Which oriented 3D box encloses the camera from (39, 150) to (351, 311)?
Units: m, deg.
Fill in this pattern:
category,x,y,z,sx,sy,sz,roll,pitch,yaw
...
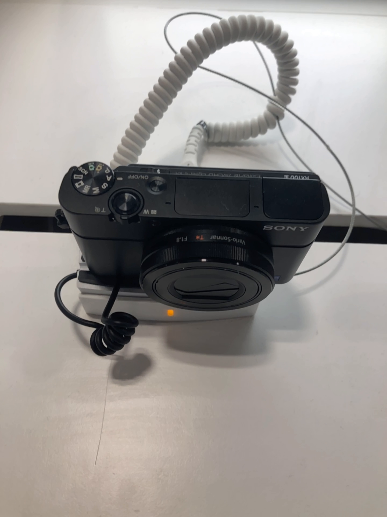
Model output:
category,x,y,z,sx,sy,sz,roll,pitch,yaw
camera,0.000,-0.008,0.190,0.110,0.070,0.030,3,60,1
